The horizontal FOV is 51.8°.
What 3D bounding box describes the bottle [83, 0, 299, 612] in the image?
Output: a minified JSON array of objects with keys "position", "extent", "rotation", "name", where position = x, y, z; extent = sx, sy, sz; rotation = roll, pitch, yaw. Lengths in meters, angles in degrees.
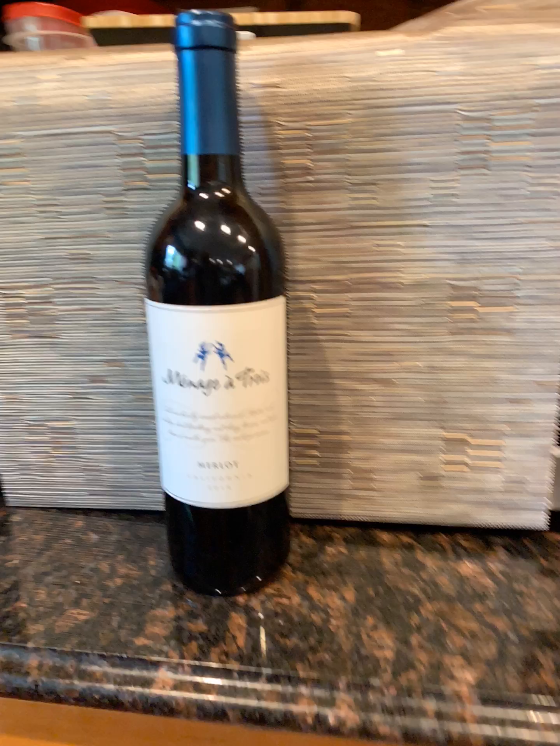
[{"position":[-0.033,-0.029,0.312],"extent":[0.080,0.309,0.080],"rotation":[-1,18,0],"name":"bottle"}]
